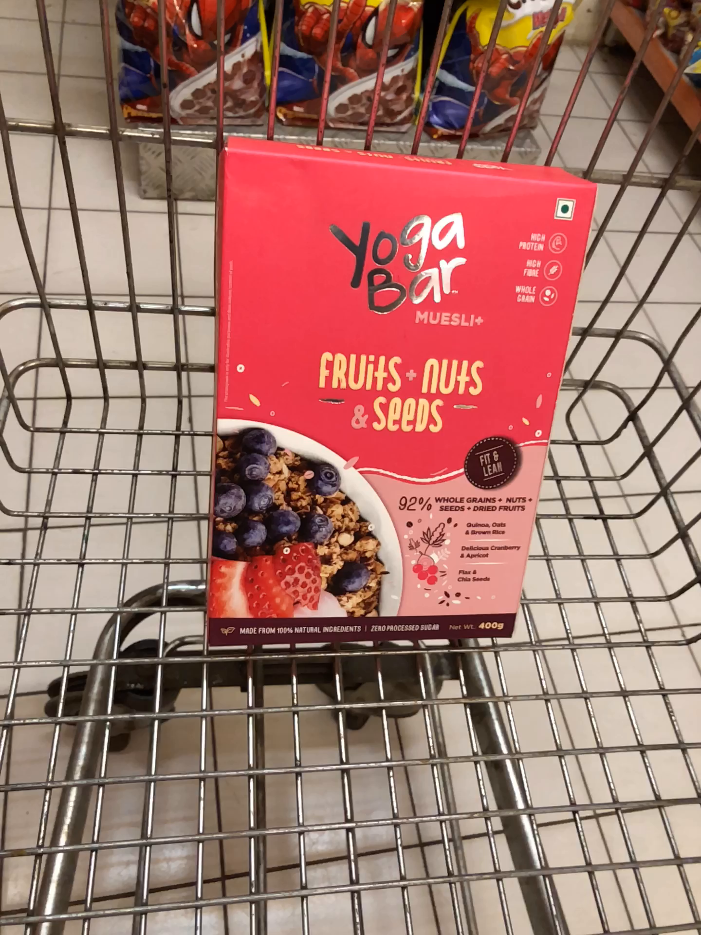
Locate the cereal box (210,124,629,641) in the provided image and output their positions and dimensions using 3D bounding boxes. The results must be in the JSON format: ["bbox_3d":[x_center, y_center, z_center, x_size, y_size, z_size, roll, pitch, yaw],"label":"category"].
[{"bbox_3d":[0.020,-0.032,0.390,0.170,0.239,0.060,2,22,-11],"label":"cereal box"}]
